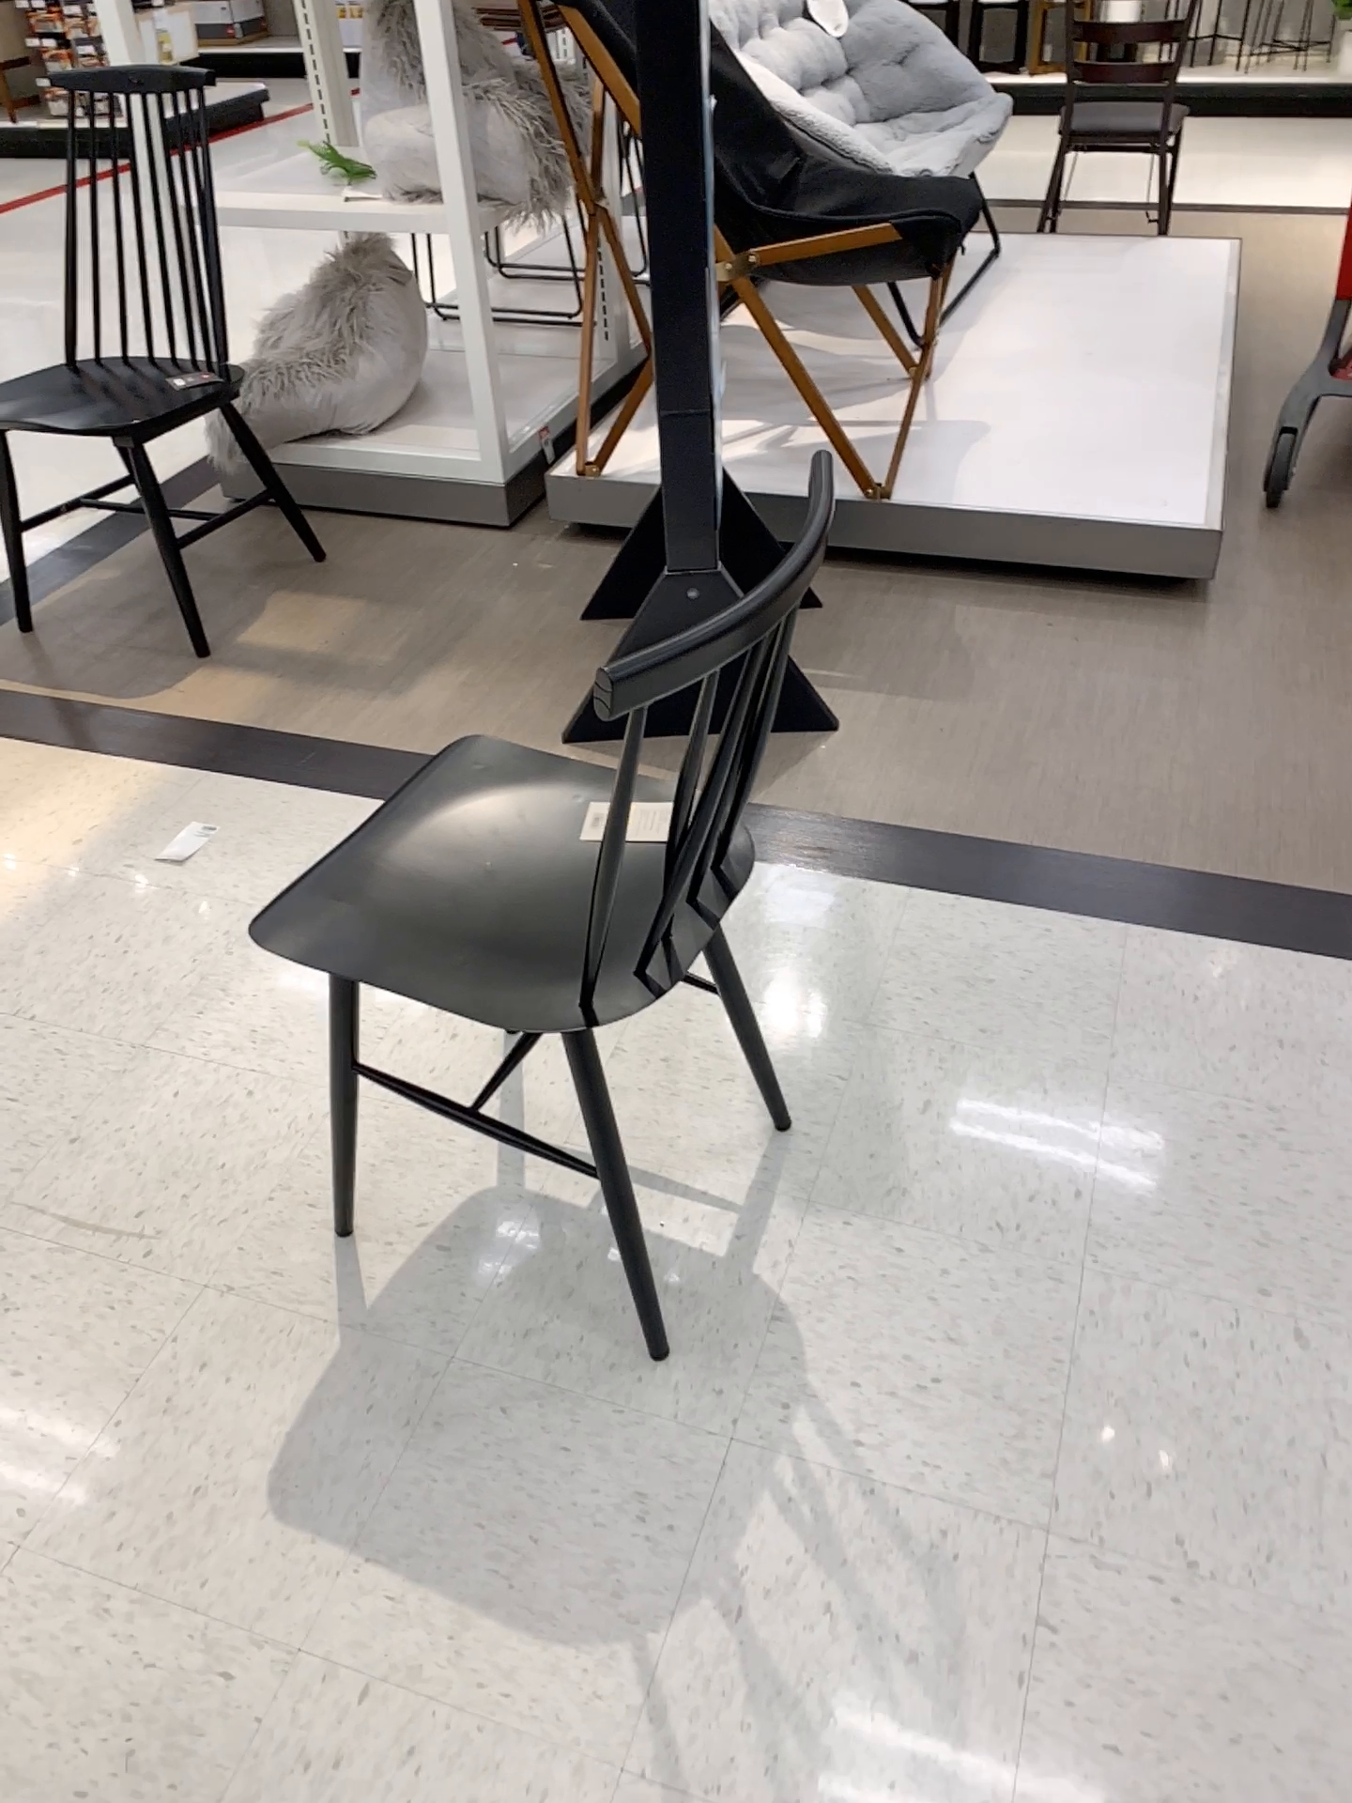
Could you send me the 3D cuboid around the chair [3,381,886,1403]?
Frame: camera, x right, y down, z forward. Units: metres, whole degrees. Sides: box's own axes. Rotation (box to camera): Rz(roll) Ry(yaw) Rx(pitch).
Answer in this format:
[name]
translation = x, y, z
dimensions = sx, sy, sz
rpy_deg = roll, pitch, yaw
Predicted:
[chair]
translation = -0.141, -0.024, 1.309
dimensions = 0.521, 0.736, 0.482
rpy_deg = 14, 41, 21
